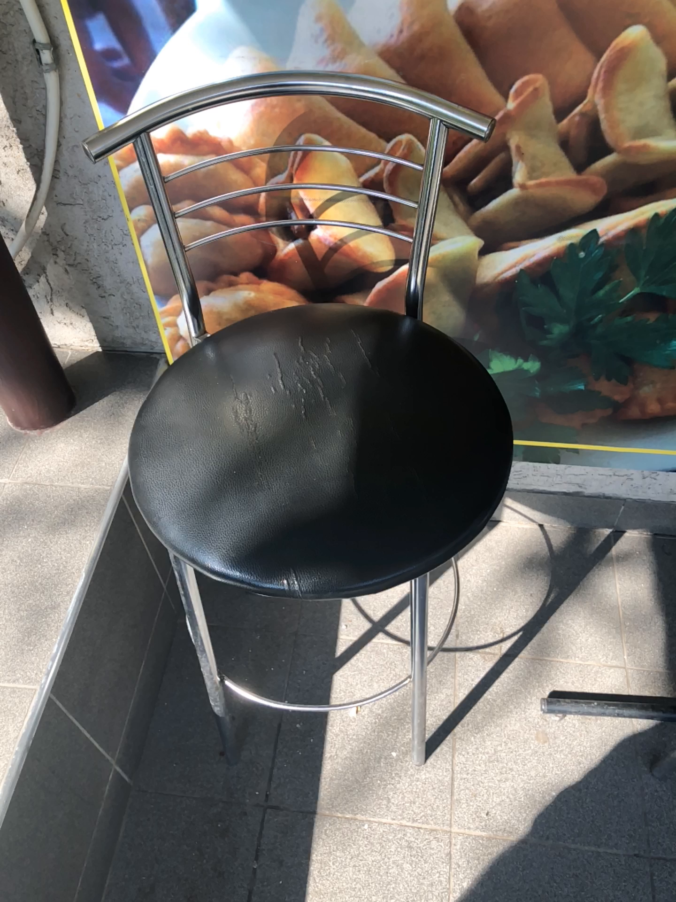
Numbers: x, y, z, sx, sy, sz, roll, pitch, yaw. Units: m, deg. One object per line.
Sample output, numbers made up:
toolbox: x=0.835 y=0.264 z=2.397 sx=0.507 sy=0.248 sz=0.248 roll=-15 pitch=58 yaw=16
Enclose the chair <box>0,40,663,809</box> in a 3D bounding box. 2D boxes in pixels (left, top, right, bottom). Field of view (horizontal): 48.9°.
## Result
chair: x=-0.034 y=0.077 z=0.964 sx=0.480 sy=0.937 sz=0.482 roll=-2 pitch=51 yaw=1
